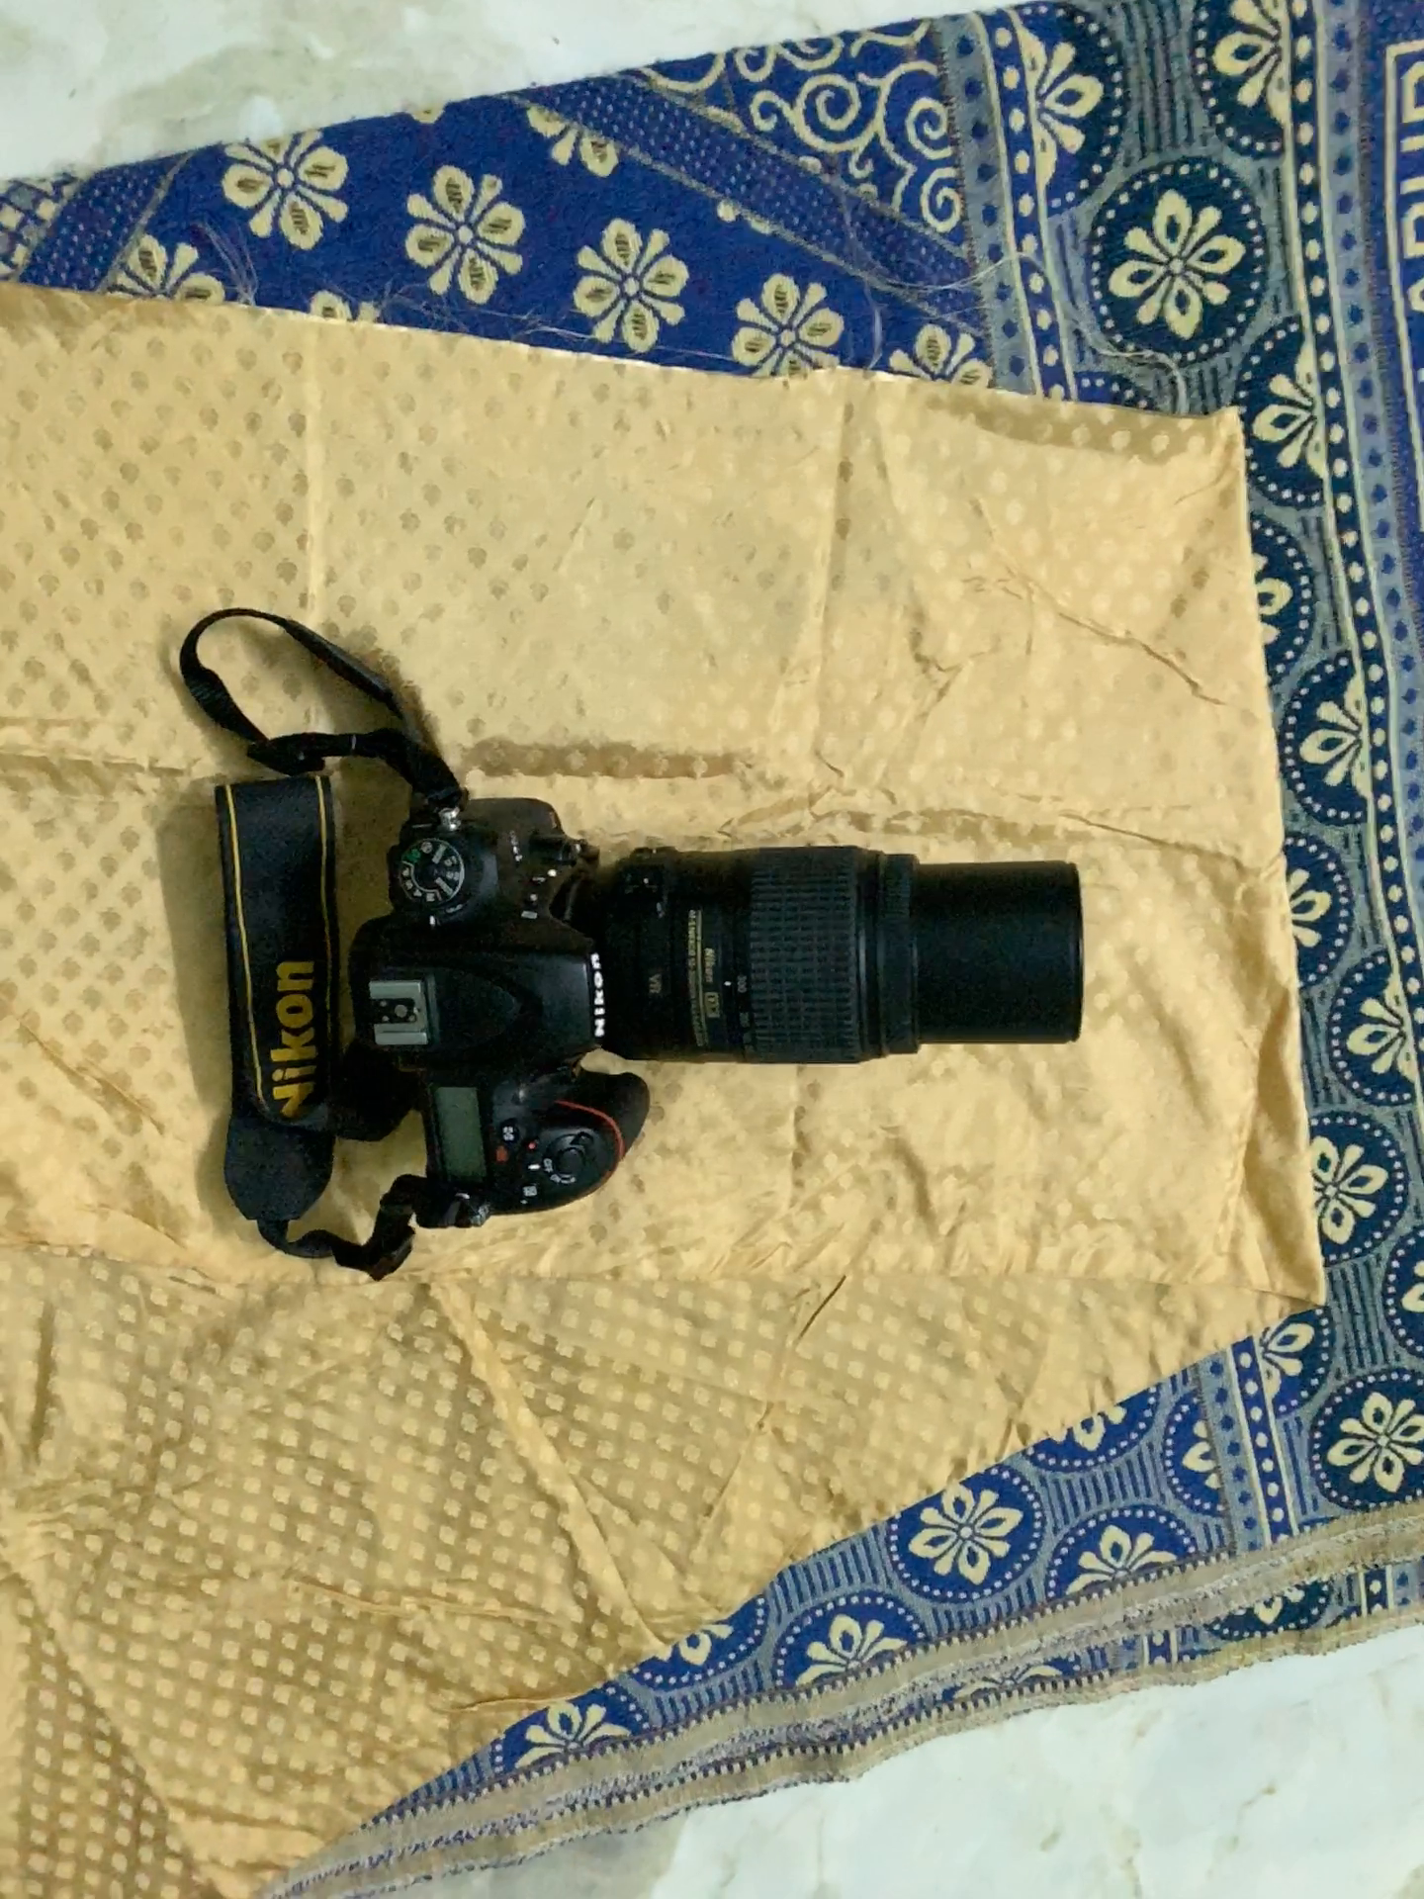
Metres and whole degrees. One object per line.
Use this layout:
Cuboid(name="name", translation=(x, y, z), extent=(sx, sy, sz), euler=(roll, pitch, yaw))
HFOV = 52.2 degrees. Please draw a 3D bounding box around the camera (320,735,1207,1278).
Cuboid(name="camera", translation=(0.021, 0.008, 0.495), extent=(0.240, 0.180, 0.140), euler=(-1, 102, 5))
